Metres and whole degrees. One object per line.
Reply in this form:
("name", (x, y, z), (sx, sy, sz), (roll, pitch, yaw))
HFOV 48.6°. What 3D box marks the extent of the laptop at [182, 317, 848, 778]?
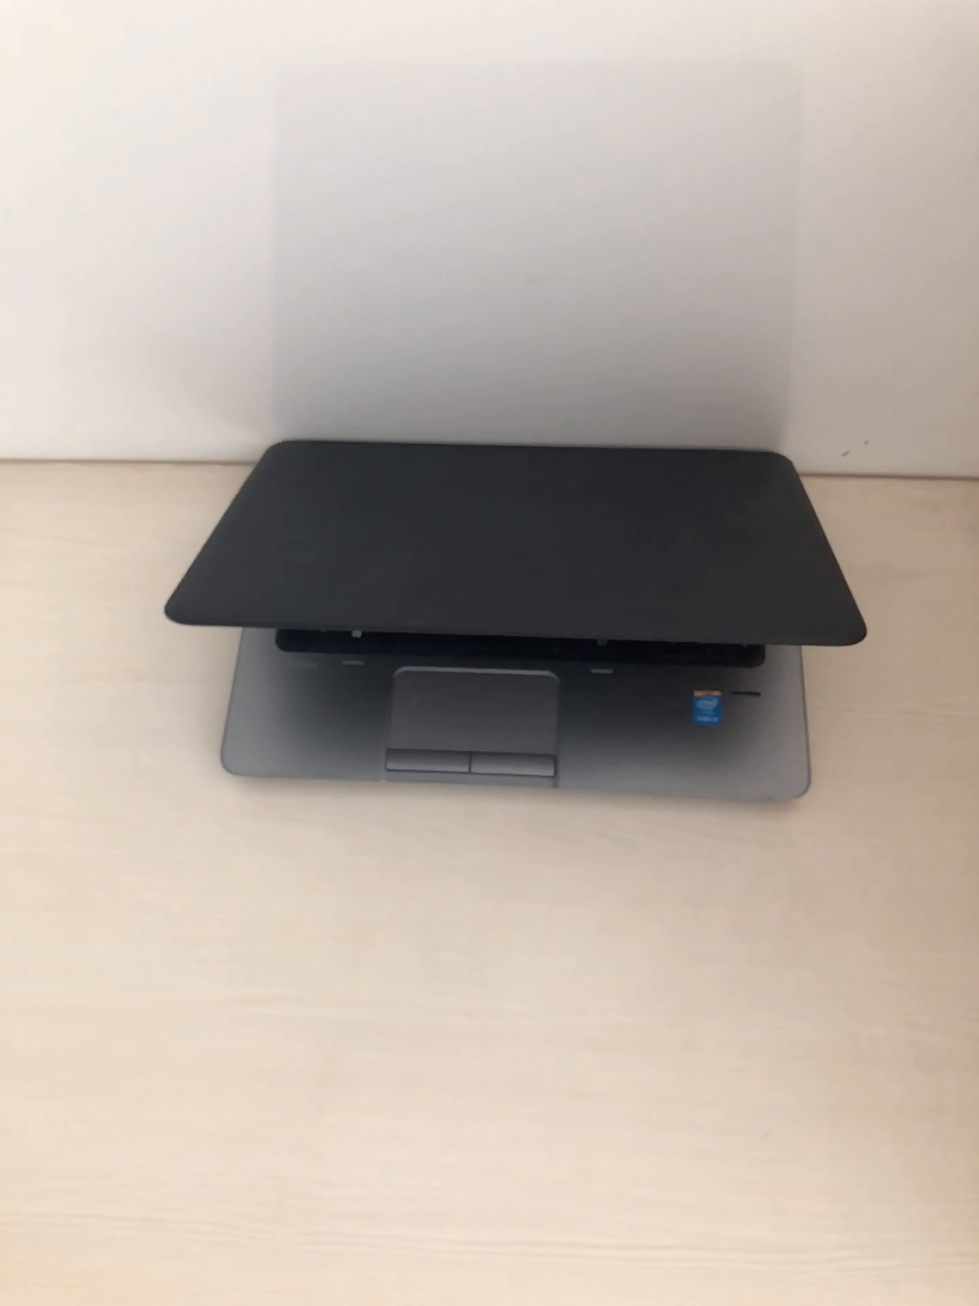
("laptop", (0.019, -0.060, 0.619), (0.319, 0.118, 0.220), (2, 64, 3))
